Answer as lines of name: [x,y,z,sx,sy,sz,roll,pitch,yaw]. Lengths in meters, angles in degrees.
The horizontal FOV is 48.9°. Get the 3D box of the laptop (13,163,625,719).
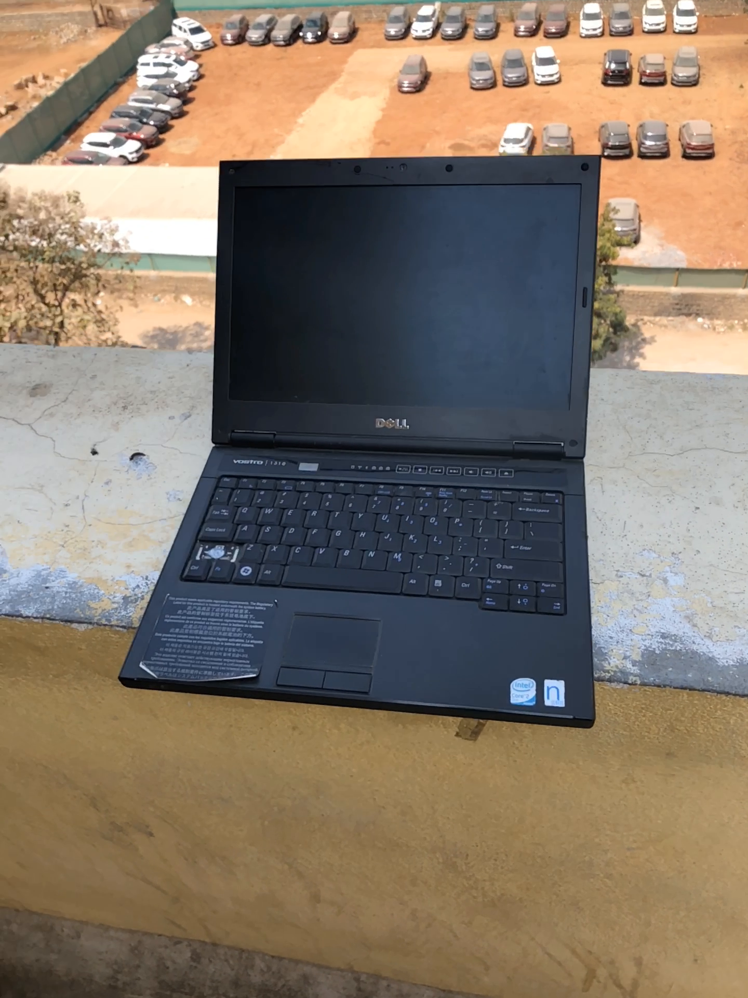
laptop: [0.003,-0.067,0.588,0.301,0.177,0.378,2,45,11]
